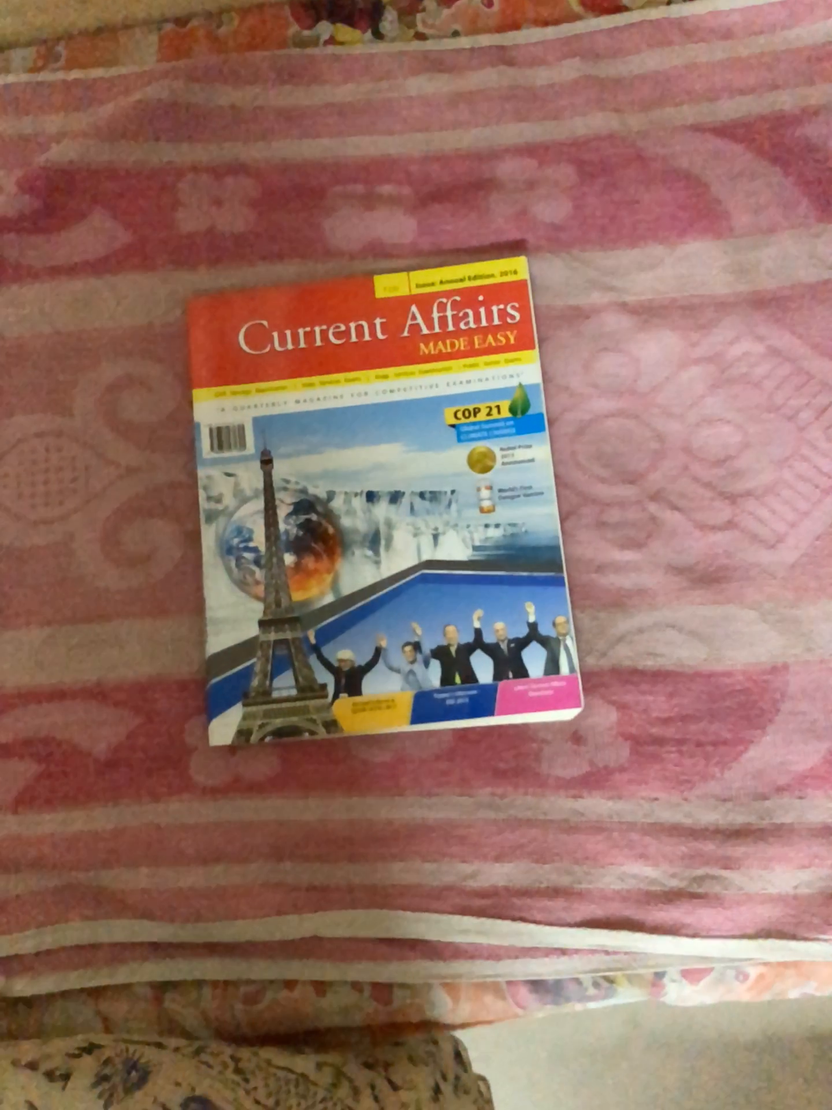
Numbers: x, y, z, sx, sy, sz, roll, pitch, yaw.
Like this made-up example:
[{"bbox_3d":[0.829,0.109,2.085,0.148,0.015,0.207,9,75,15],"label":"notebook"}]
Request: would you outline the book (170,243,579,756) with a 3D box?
[{"bbox_3d":[-0.029,-0.034,0.522,0.205,0.025,0.270,-6,80,3],"label":"book"}]
